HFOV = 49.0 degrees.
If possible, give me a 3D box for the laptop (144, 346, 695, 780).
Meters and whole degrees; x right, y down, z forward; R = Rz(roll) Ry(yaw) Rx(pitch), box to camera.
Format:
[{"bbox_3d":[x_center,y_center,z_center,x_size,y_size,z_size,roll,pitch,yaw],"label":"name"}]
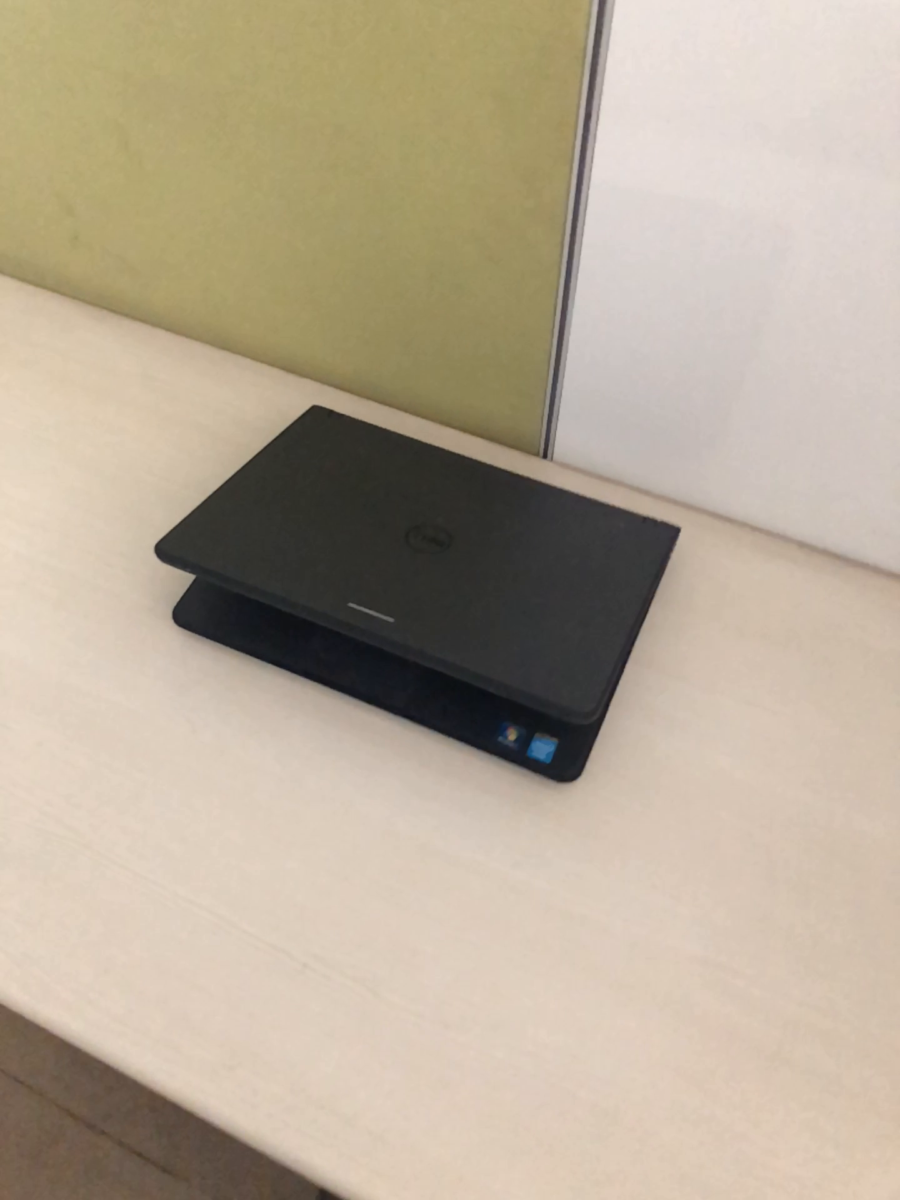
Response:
[{"bbox_3d":[-0.016,-0.043,0.725,0.322,0.072,0.230,21,58,14],"label":"laptop"}]
